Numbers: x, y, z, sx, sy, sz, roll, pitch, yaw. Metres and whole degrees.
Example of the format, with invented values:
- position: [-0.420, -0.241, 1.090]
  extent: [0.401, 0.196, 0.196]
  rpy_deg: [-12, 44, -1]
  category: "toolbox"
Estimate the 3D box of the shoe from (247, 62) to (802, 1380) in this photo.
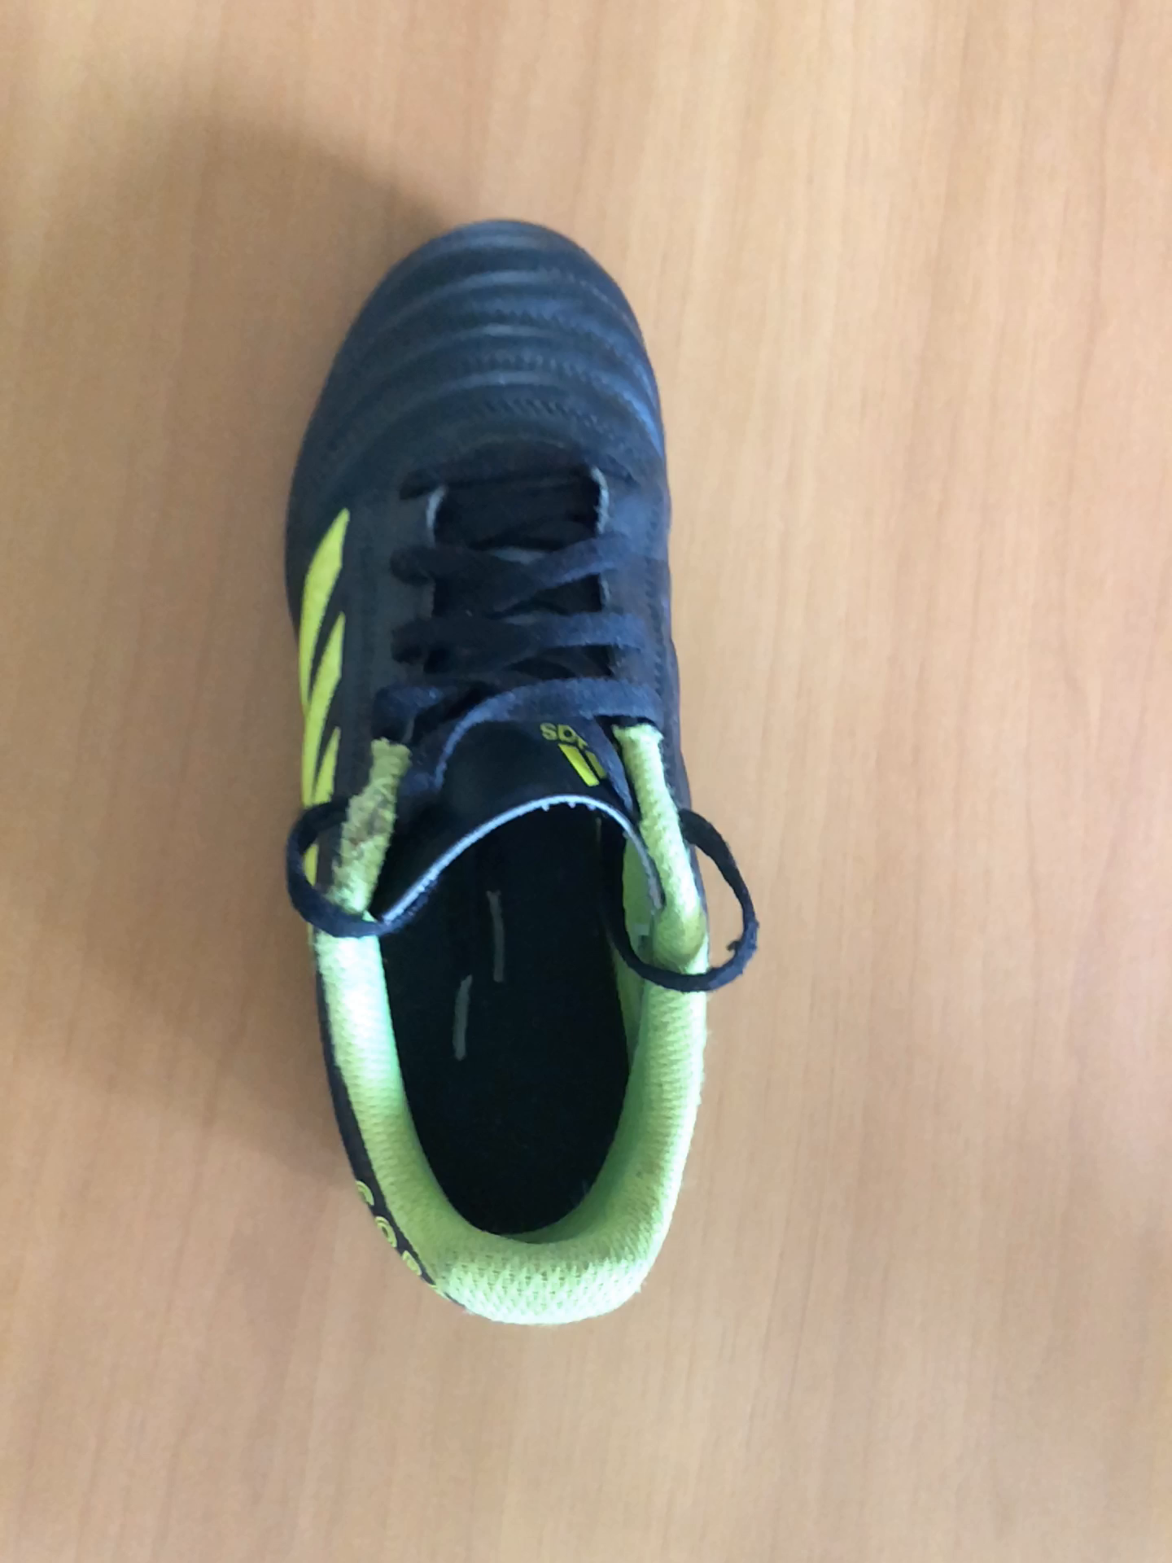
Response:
- position: [-0.016, -0.011, 0.268]
  extent: [0.090, 0.090, 0.220]
  rpy_deg: [-1, 87, -7]
  category: "shoe"
